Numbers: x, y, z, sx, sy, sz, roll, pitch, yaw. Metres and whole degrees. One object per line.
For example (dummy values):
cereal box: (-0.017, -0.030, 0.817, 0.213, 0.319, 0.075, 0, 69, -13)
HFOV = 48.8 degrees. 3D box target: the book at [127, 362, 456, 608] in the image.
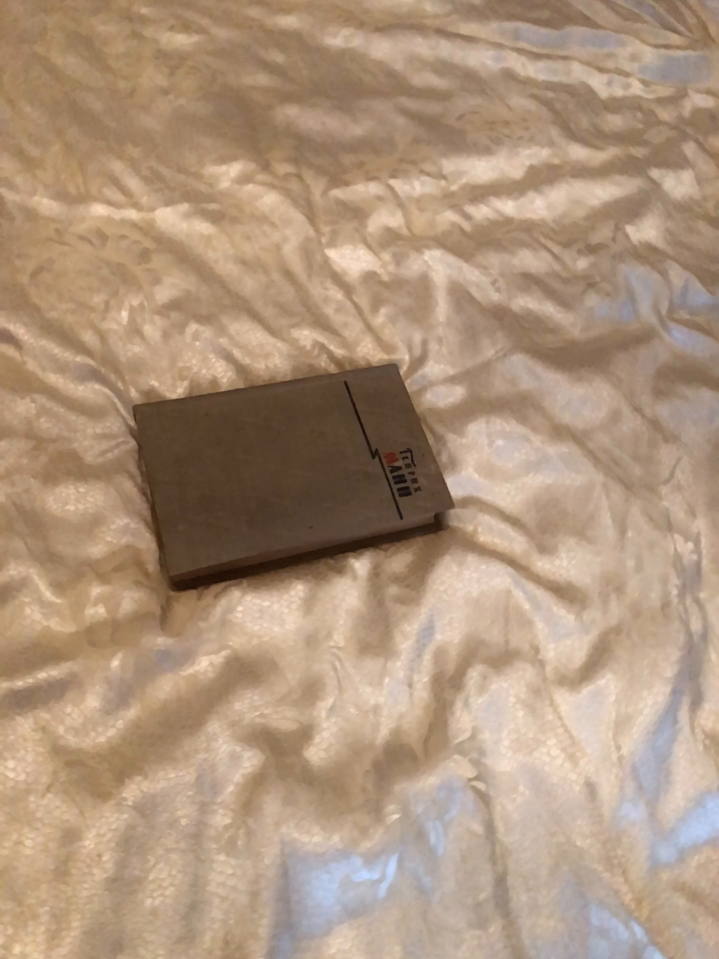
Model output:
book: (-0.053, -0.002, 0.590, 0.208, 0.051, 0.142, -11, 61, -16)
